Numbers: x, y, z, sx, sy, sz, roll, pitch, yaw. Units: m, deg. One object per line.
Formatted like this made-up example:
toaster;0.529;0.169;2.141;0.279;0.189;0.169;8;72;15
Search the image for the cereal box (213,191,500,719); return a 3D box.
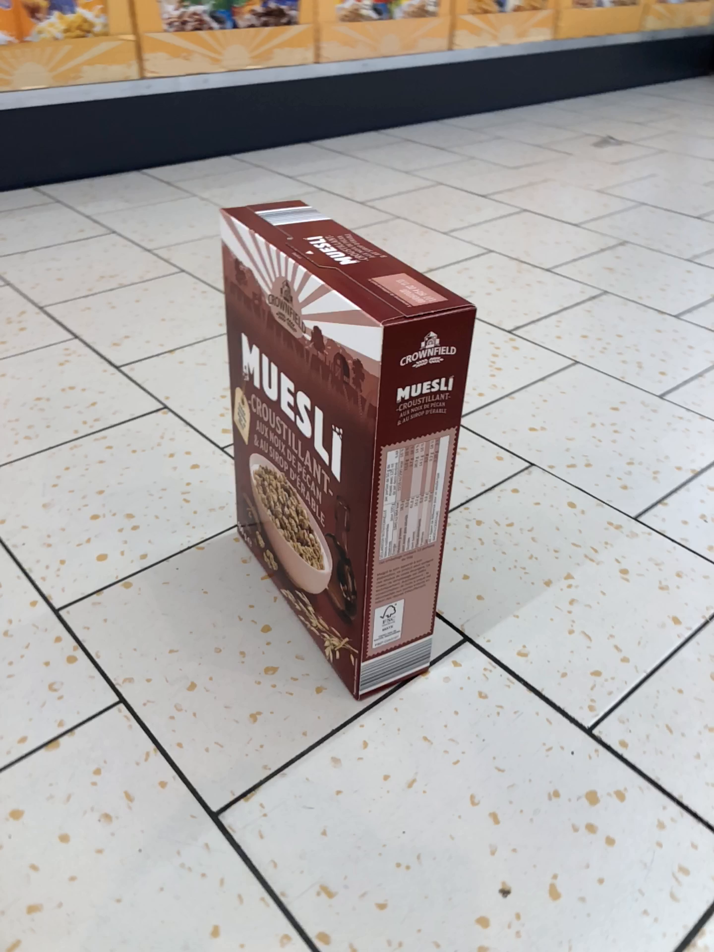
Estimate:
cereal box;-0.014;-0.018;0.480;0.060;0.248;0.200;-16;39;-24
